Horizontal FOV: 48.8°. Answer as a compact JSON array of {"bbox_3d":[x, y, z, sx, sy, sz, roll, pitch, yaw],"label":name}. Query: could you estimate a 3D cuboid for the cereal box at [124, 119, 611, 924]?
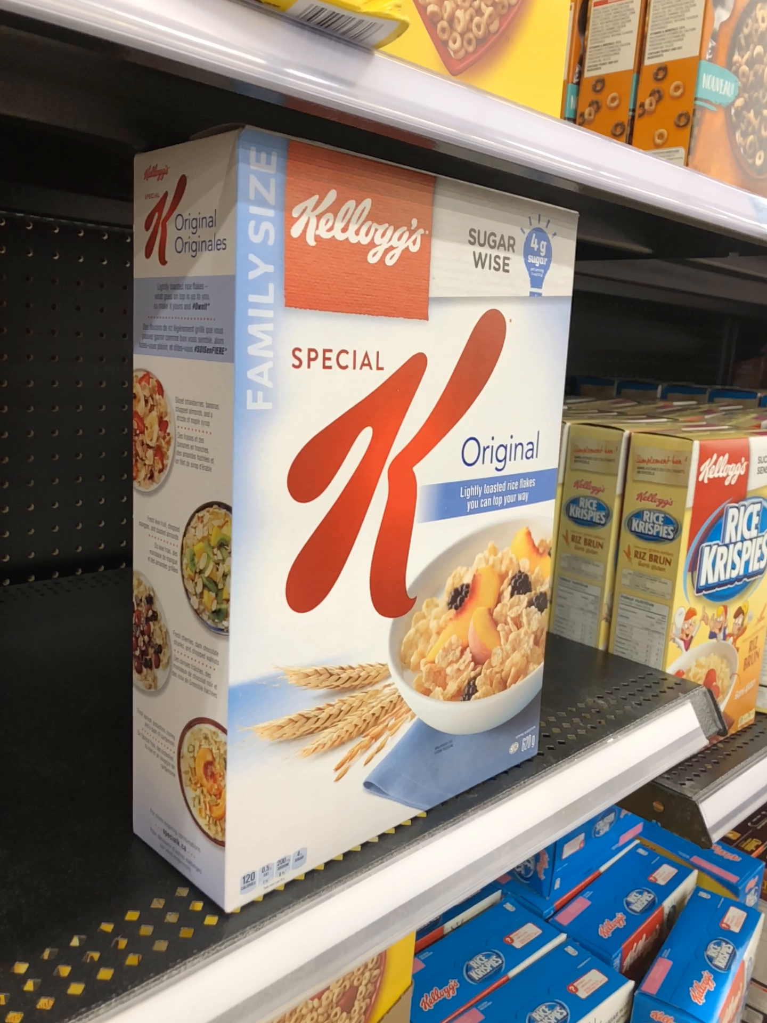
[{"bbox_3d":[0.001,-0.002,0.457,0.080,0.329,0.261,14,15,43],"label":"cereal box"}]
